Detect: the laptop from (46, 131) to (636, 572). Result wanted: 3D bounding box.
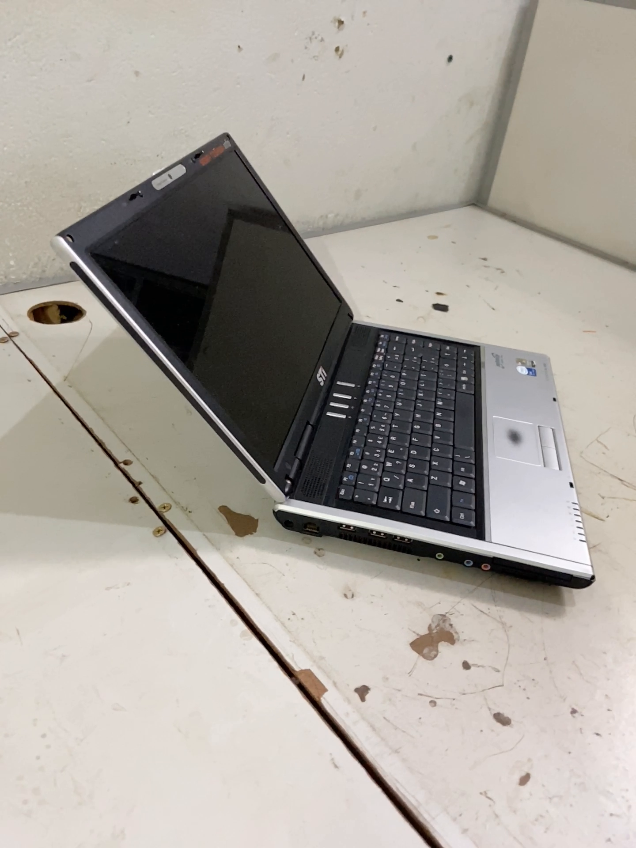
[{"bbox_3d":[0.048,-0.096,0.558,0.386,0.167,0.327,13,35,5],"label":"laptop"}]
